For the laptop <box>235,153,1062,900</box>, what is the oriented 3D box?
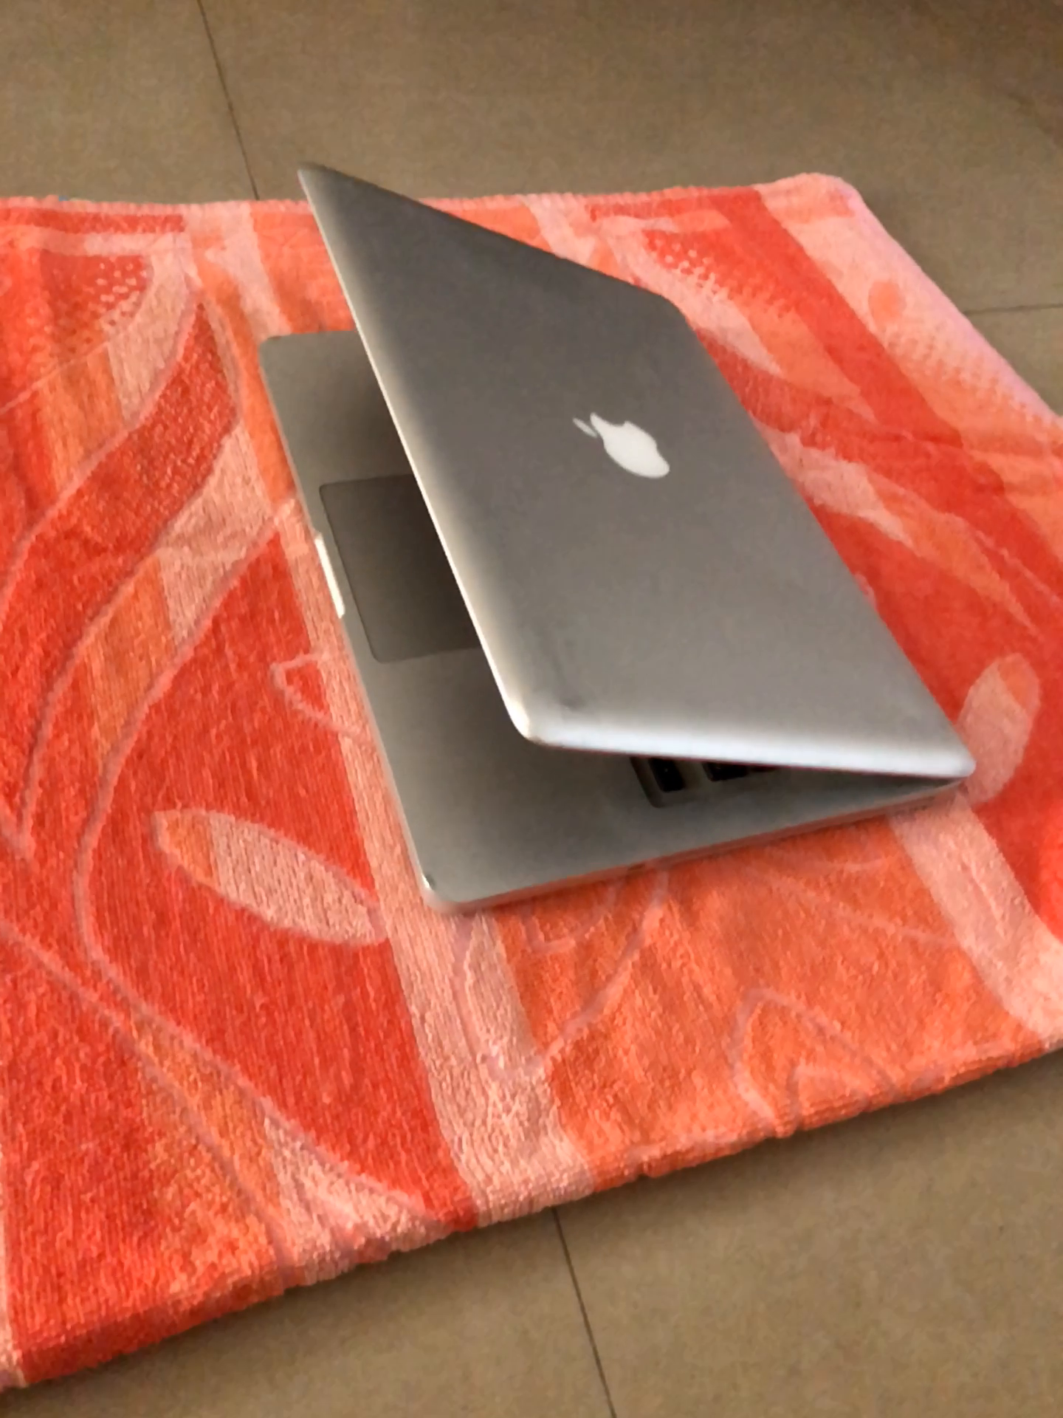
[{"bbox_3d":[0.024,-0.102,0.481,0.223,0.086,0.311,-10,56,-18],"label":"laptop"}]
